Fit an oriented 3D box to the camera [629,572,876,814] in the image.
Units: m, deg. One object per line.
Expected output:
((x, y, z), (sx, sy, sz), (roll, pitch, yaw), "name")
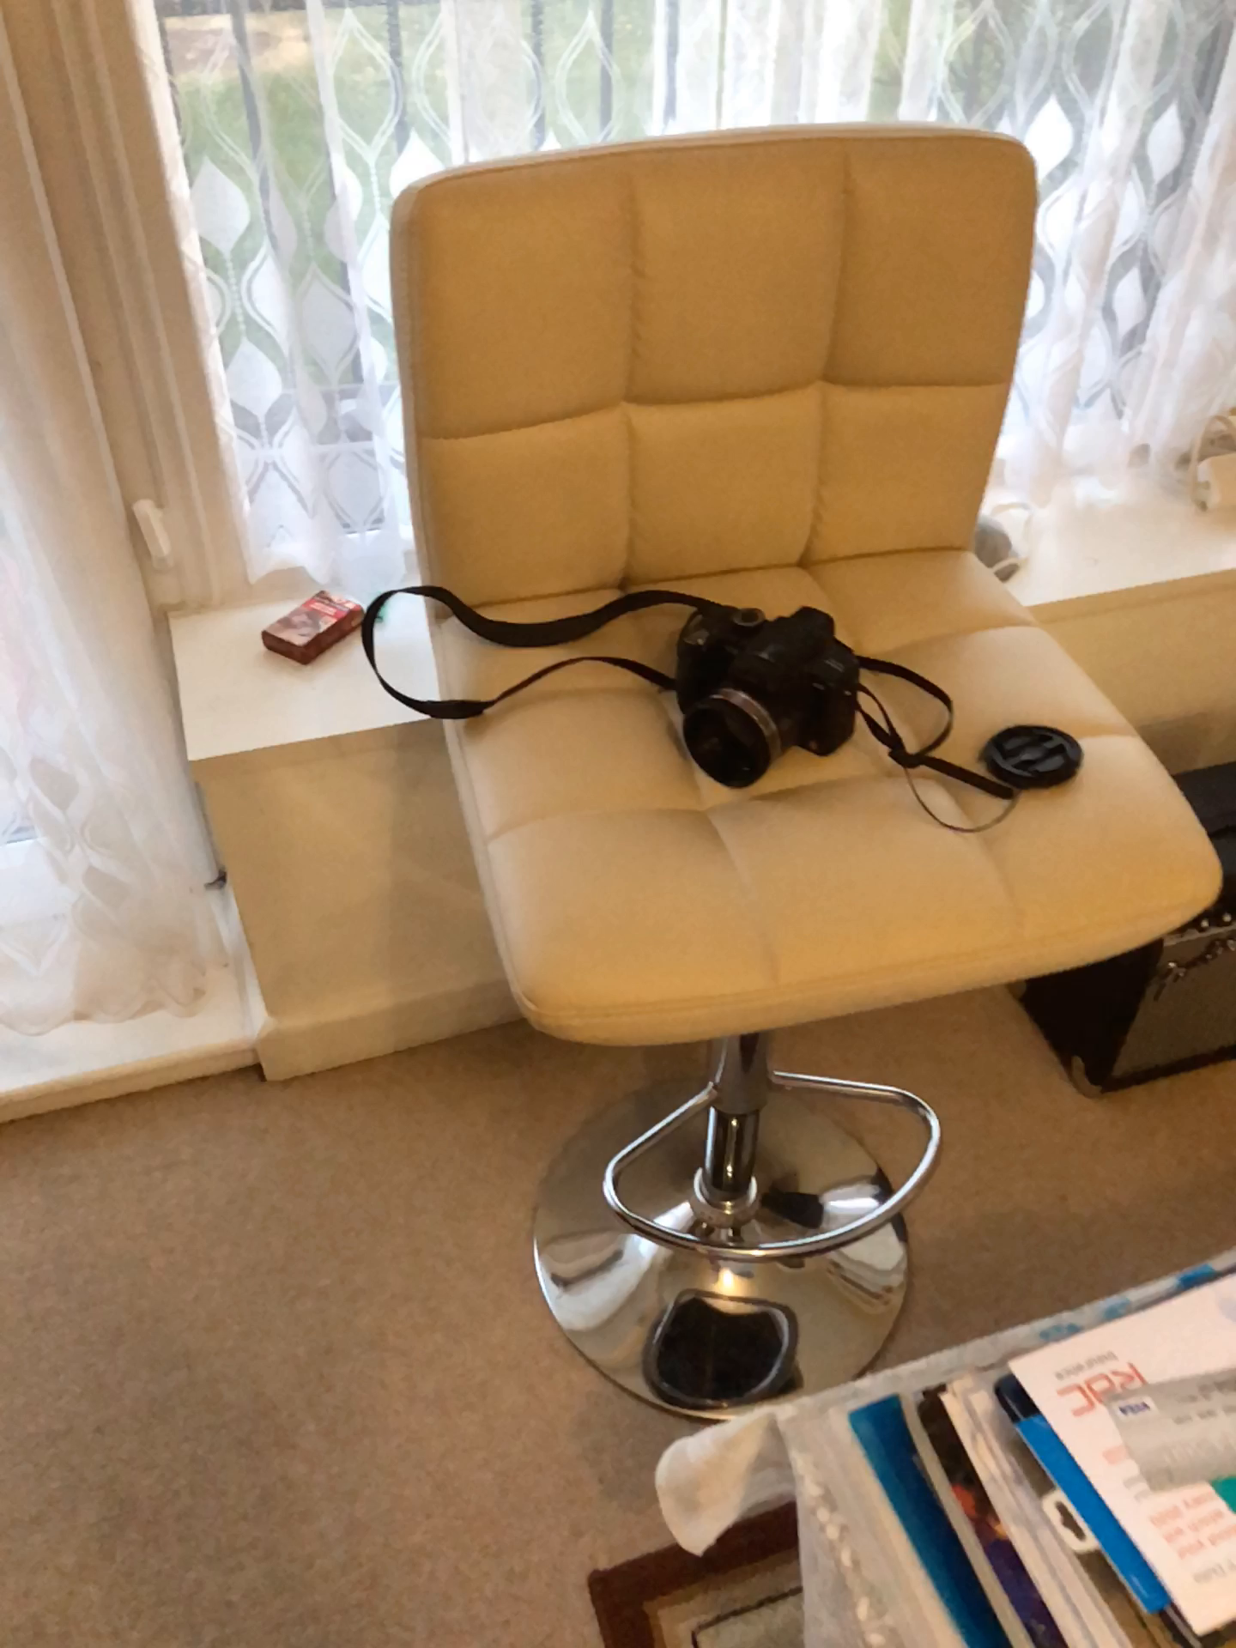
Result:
((0.081, -0.083, 0.825), (0.112, 0.076, 0.098), (25, 48, 24), "camera")
